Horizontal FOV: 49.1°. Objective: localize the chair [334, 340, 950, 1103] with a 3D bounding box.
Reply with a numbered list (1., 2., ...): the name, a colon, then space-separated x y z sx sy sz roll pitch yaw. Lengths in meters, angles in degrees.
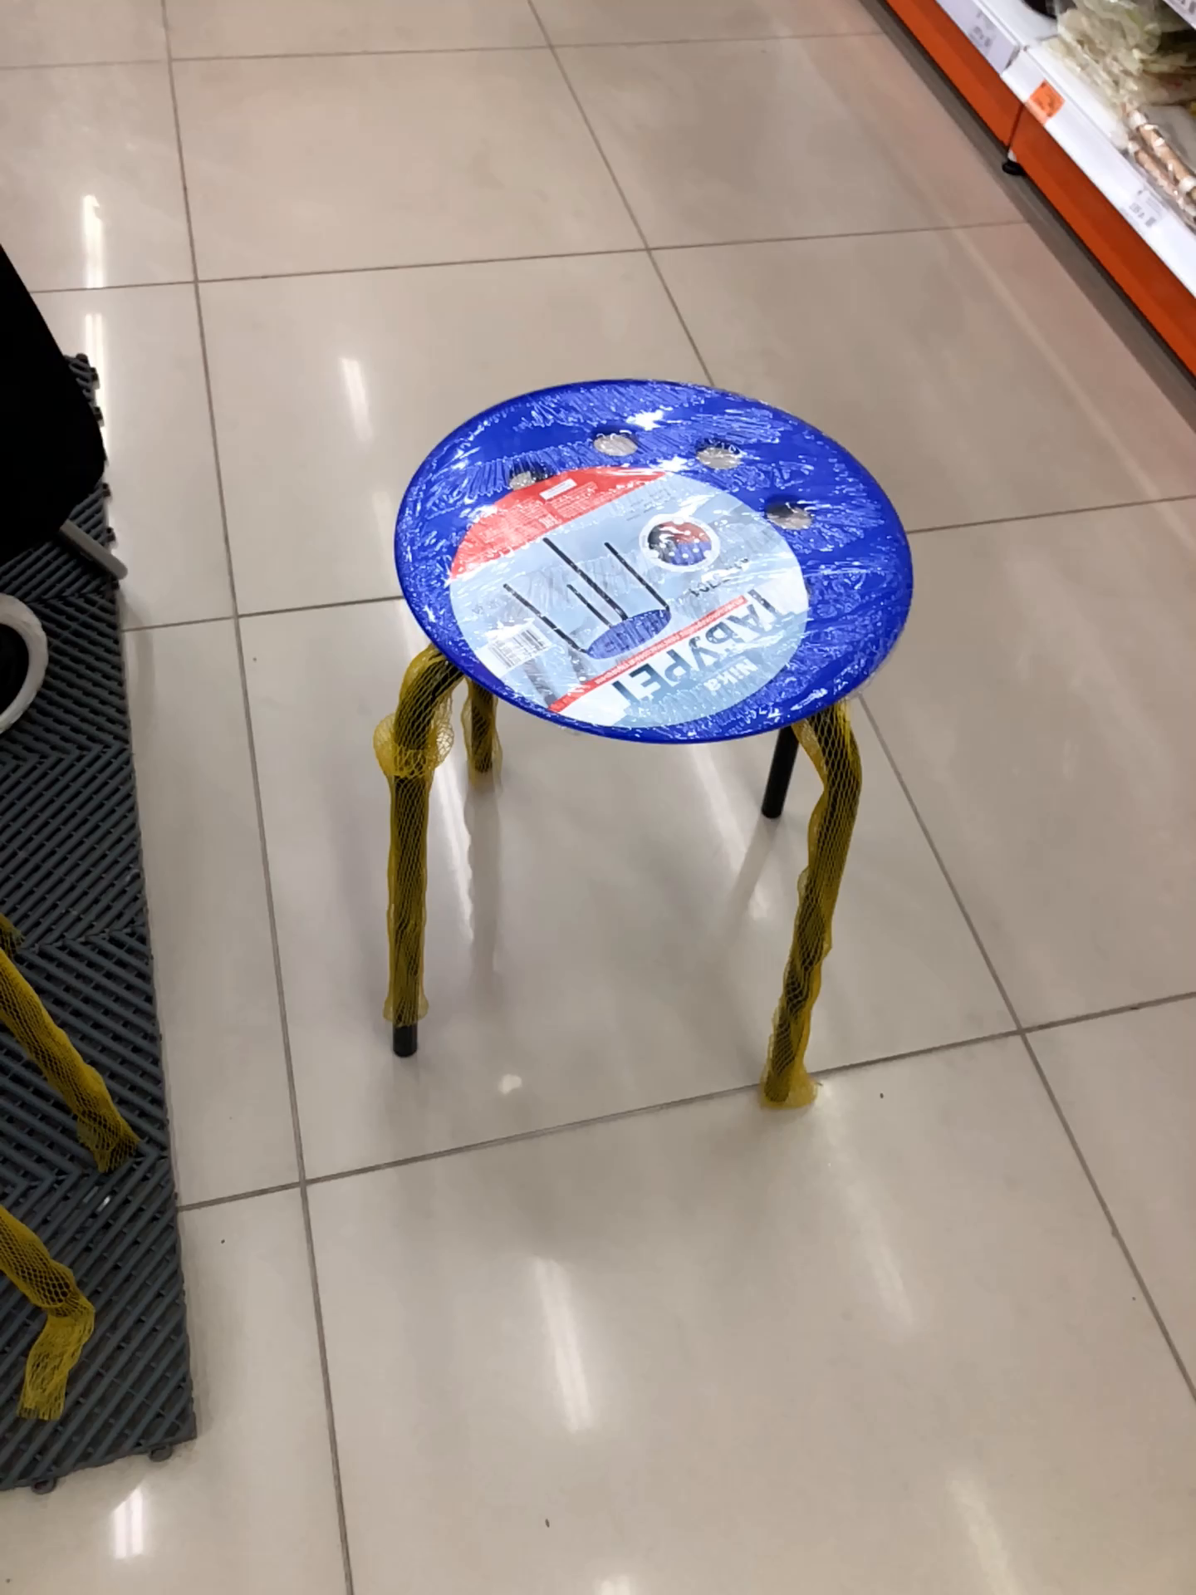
1. chair: 0.022 -0.034 0.950 0.323 0.426 0.322 6 52 0
